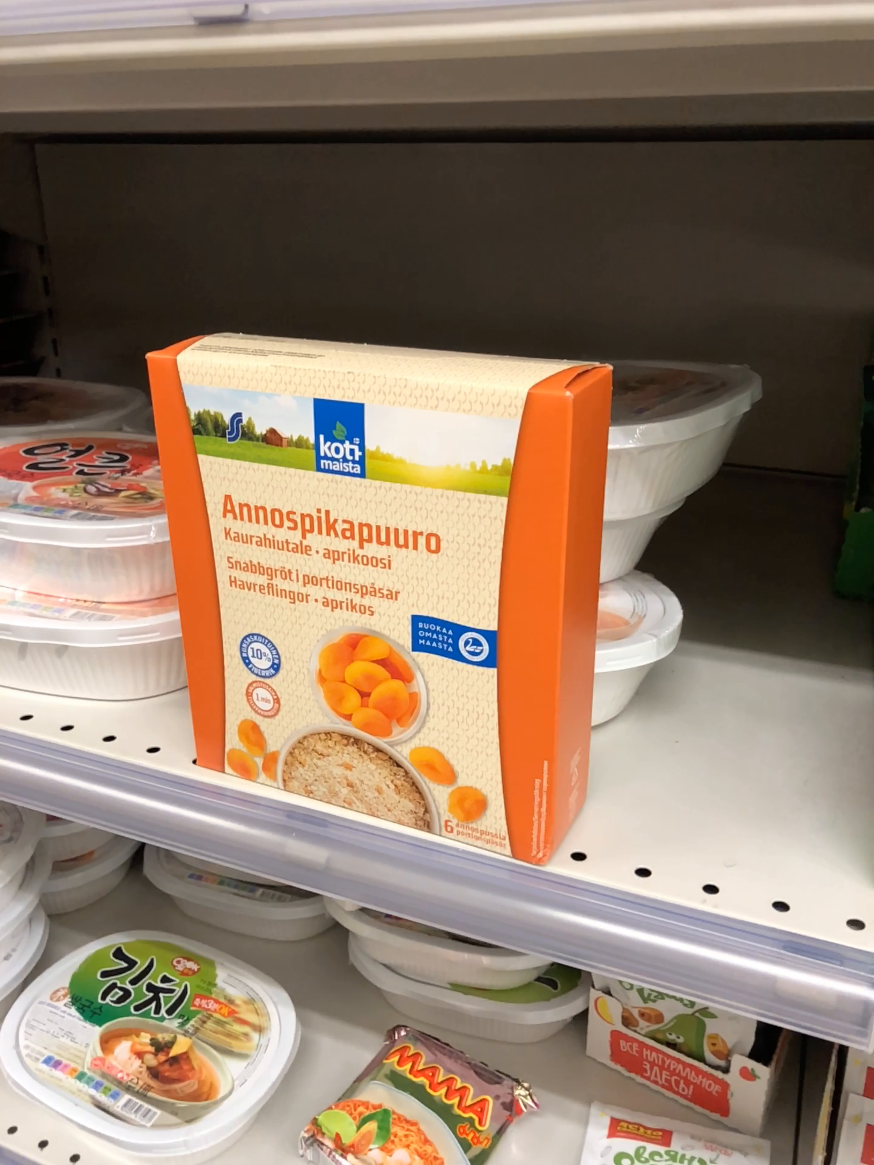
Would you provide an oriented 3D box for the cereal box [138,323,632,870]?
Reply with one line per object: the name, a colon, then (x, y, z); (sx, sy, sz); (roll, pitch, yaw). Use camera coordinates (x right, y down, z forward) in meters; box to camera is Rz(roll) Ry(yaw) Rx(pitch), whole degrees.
cereal box: (-0.021, -0.002, 0.381); (0.170, 0.179, 0.060); (10, 24, 24)
